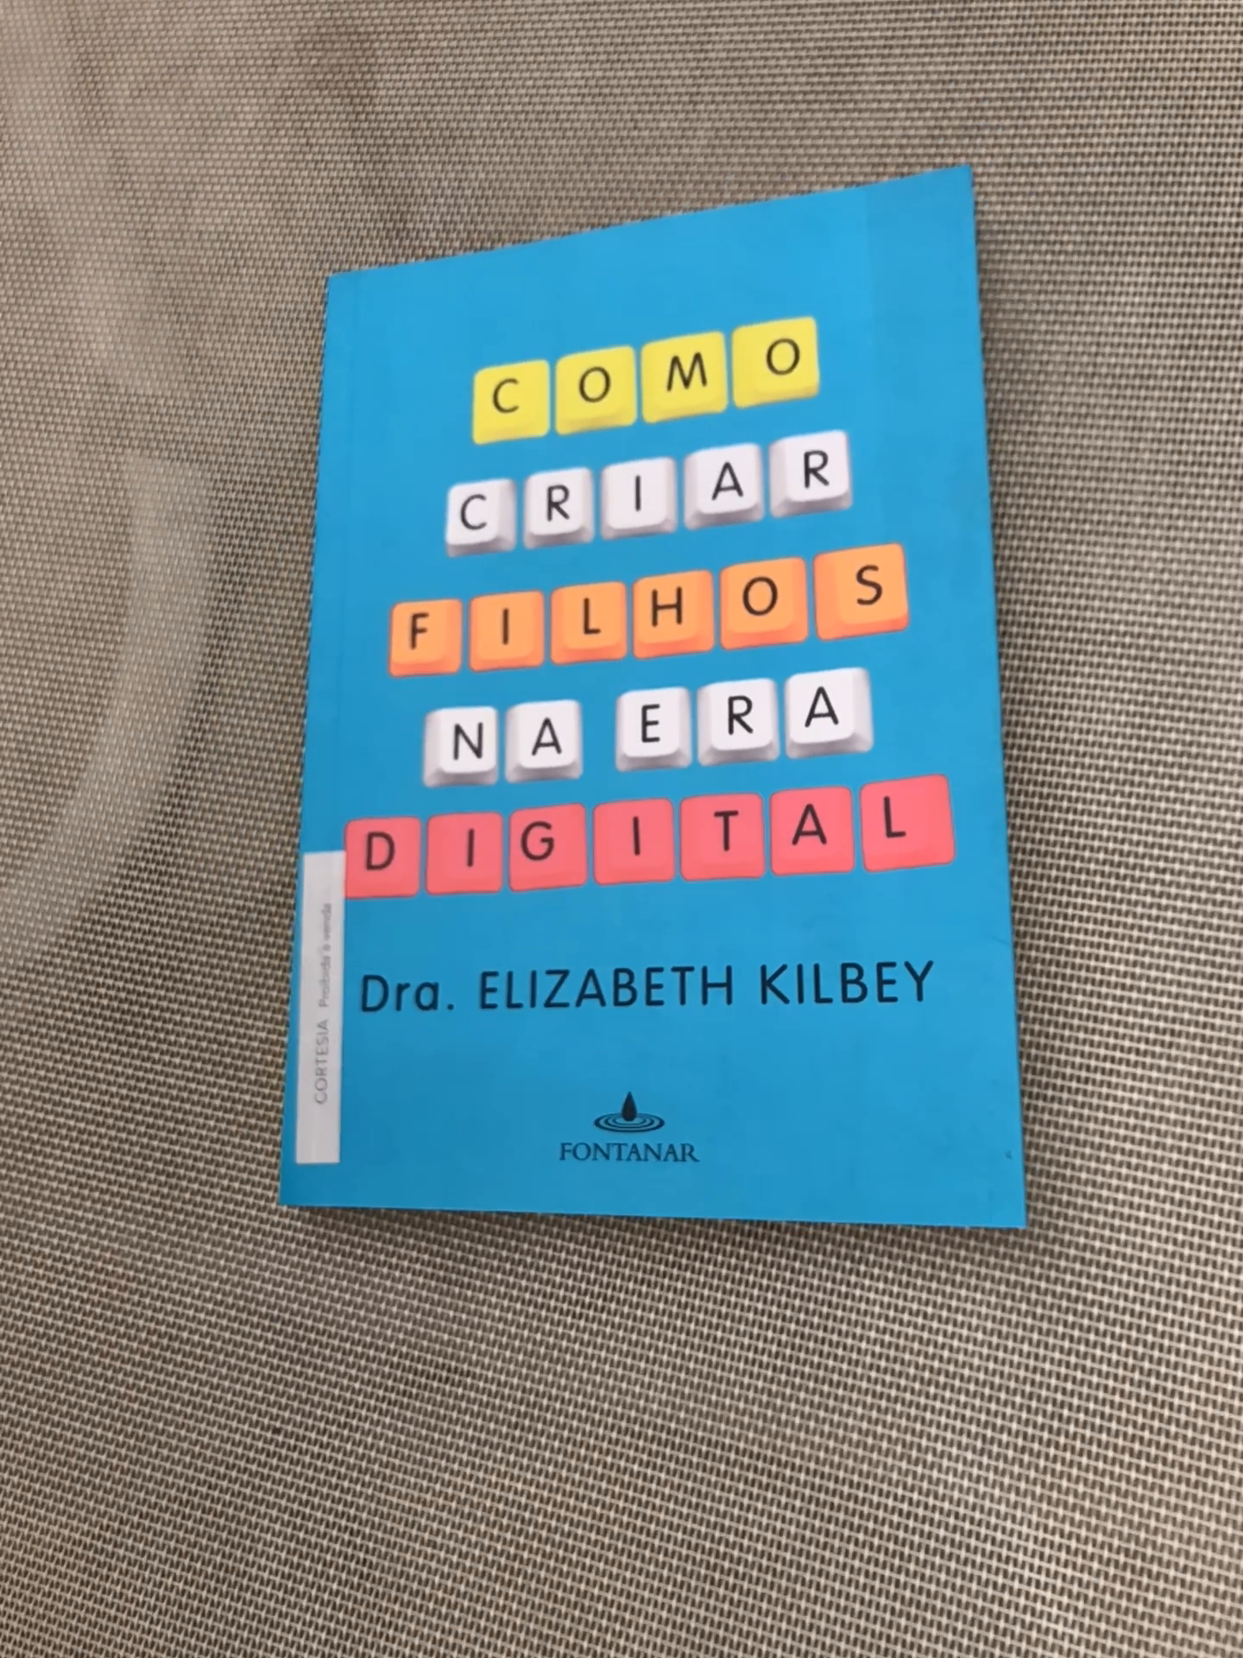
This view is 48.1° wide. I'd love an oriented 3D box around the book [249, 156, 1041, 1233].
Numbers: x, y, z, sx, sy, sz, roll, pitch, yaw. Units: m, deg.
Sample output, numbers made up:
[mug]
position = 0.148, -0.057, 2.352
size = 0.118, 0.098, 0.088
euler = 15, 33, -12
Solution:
[book]
position = 0.001, -0.030, 0.312
size = 0.163, 0.020, 0.229
euler = -3, 77, 15
